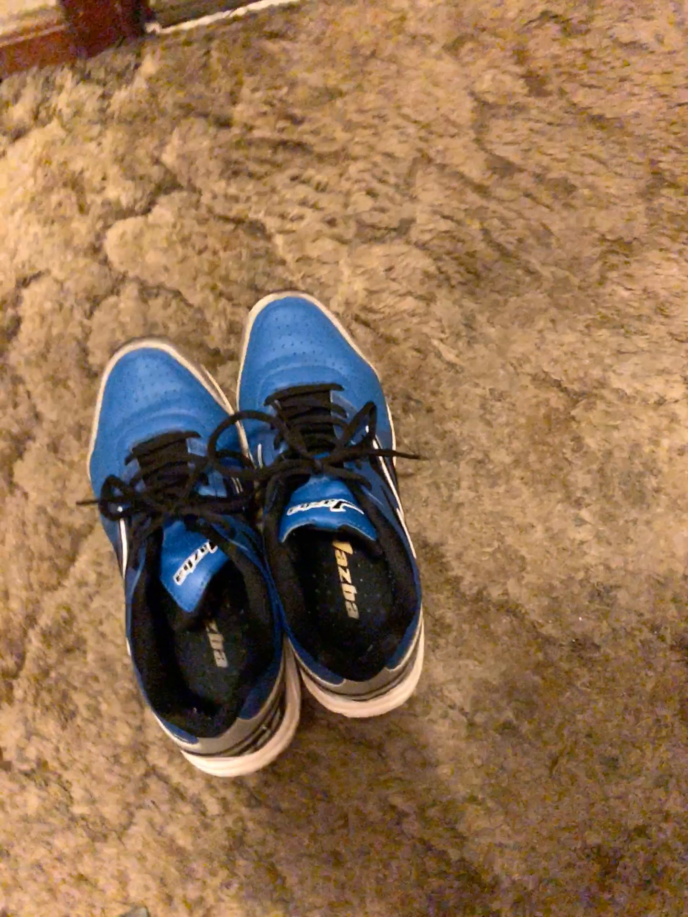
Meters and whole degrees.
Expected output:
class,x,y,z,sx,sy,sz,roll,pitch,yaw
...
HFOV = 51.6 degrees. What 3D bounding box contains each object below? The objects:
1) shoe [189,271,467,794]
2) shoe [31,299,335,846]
class,x,y,z,sx,sy,sz,roll,pitch,yaw
shoe,-0.016,0.042,0.455,0.100,0.120,0.281,-12,74,-3
shoe,-0.093,0.061,0.433,0.100,0.120,0.271,-16,74,-4
